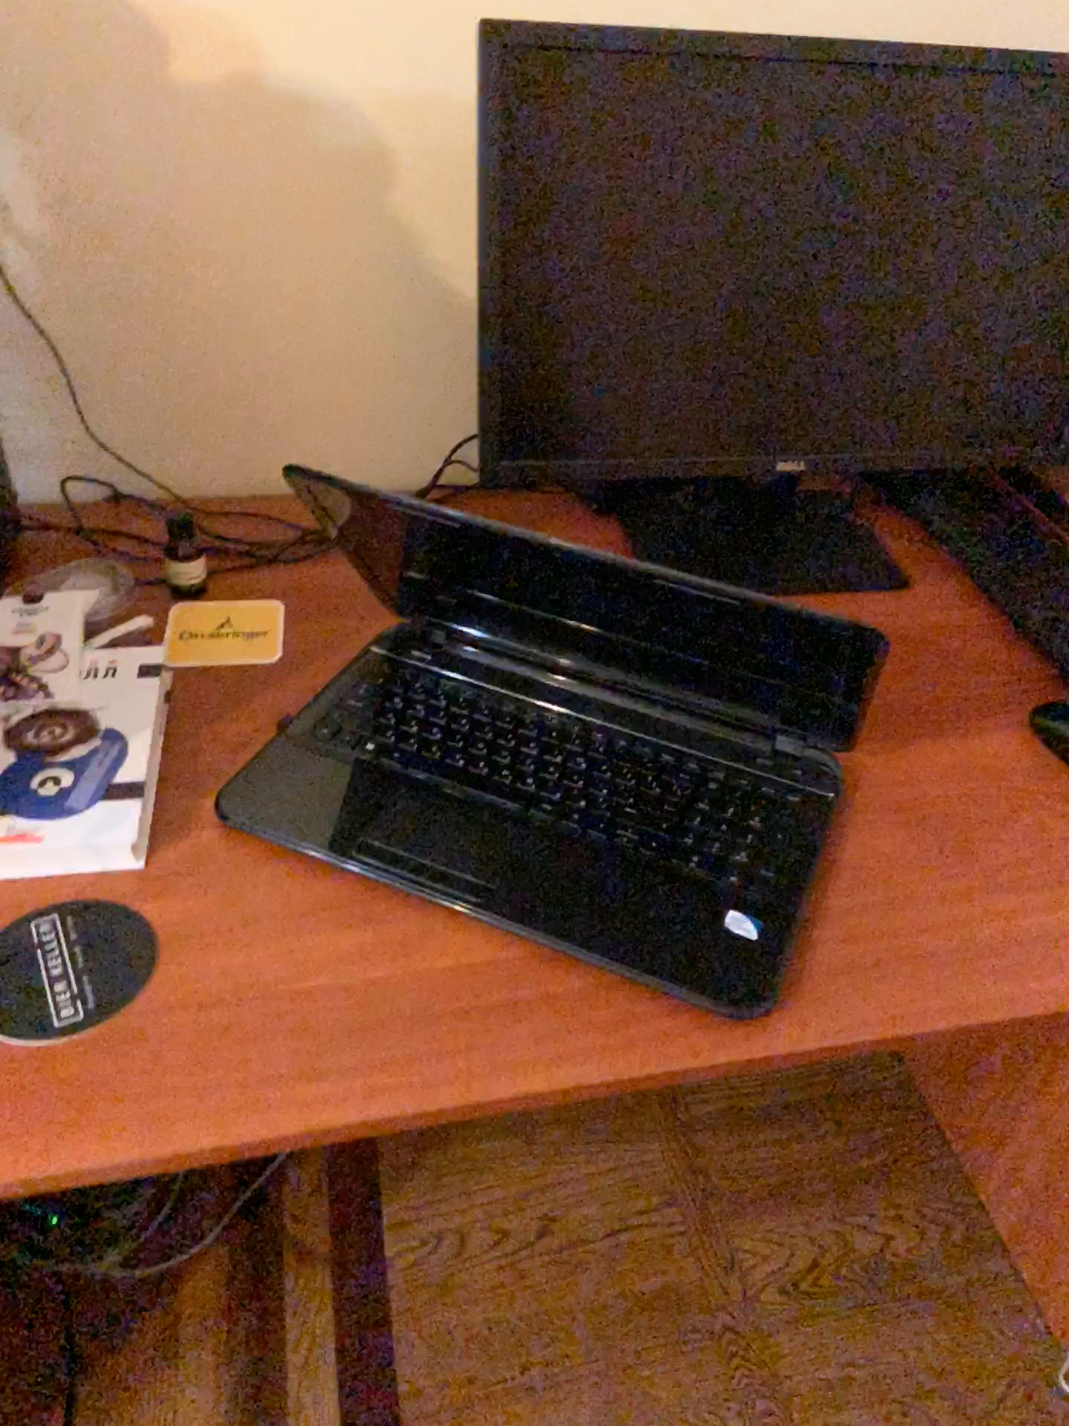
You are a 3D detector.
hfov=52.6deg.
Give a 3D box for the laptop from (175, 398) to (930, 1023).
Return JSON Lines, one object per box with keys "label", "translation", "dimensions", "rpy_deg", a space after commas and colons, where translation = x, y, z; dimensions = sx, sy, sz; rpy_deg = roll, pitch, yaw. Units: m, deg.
{"label": "laptop", "translation": [0.017, -0.026, 0.680], "dimensions": [0.370, 0.194, 0.245], "rpy_deg": [18, 39, 16]}
